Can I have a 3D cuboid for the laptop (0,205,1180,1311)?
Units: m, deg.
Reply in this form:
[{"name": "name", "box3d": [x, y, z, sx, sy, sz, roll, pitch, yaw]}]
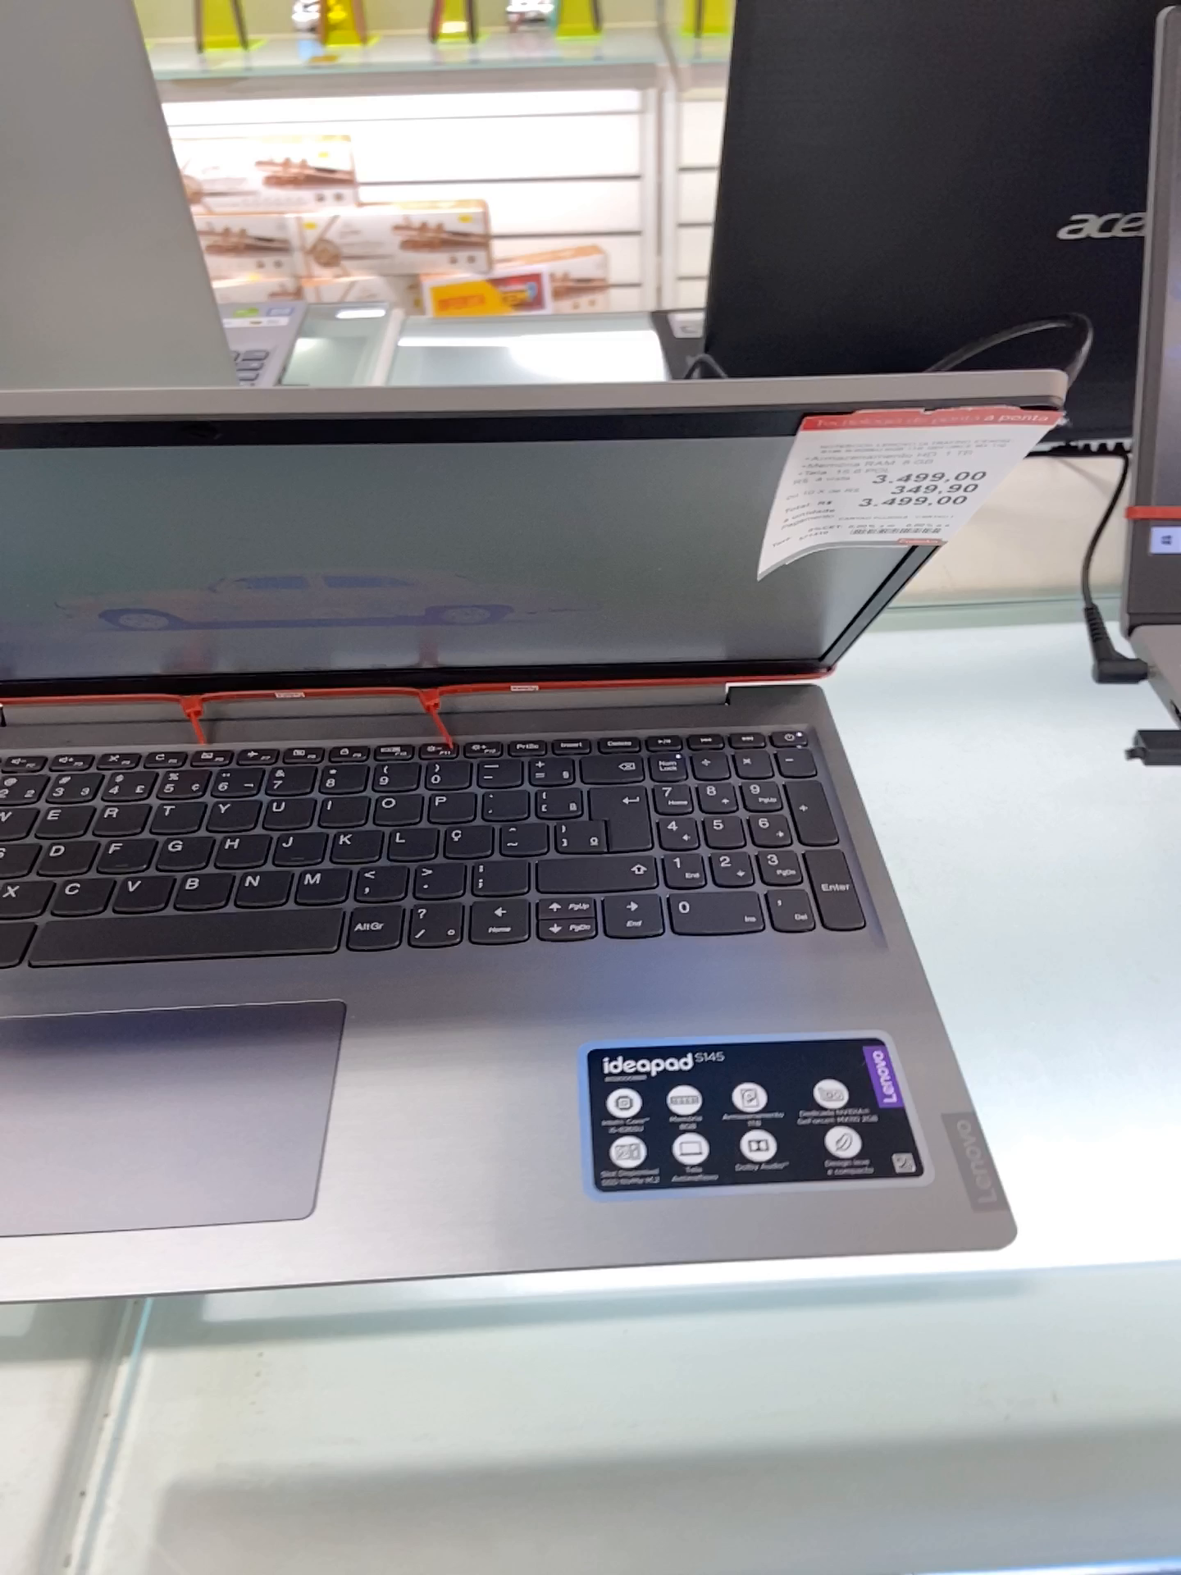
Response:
[{"name": "laptop", "box3d": [-0.084, -0.029, 0.335, 0.359, 0.175, 0.246, -2, 38, -1]}]
